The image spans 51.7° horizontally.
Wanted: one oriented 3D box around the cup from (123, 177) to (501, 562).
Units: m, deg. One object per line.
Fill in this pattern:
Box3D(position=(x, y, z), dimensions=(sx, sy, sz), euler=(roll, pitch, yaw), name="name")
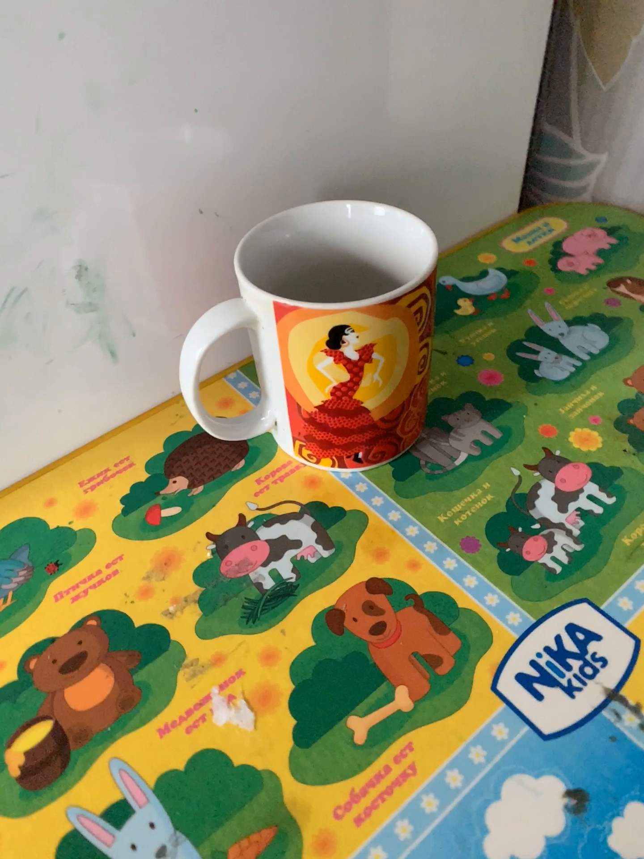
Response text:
Box3D(position=(-0.001, -0.030, 0.289), dimensions=(0.119, 0.097, 0.085), euler=(-30, 50, -23), name="cup")
